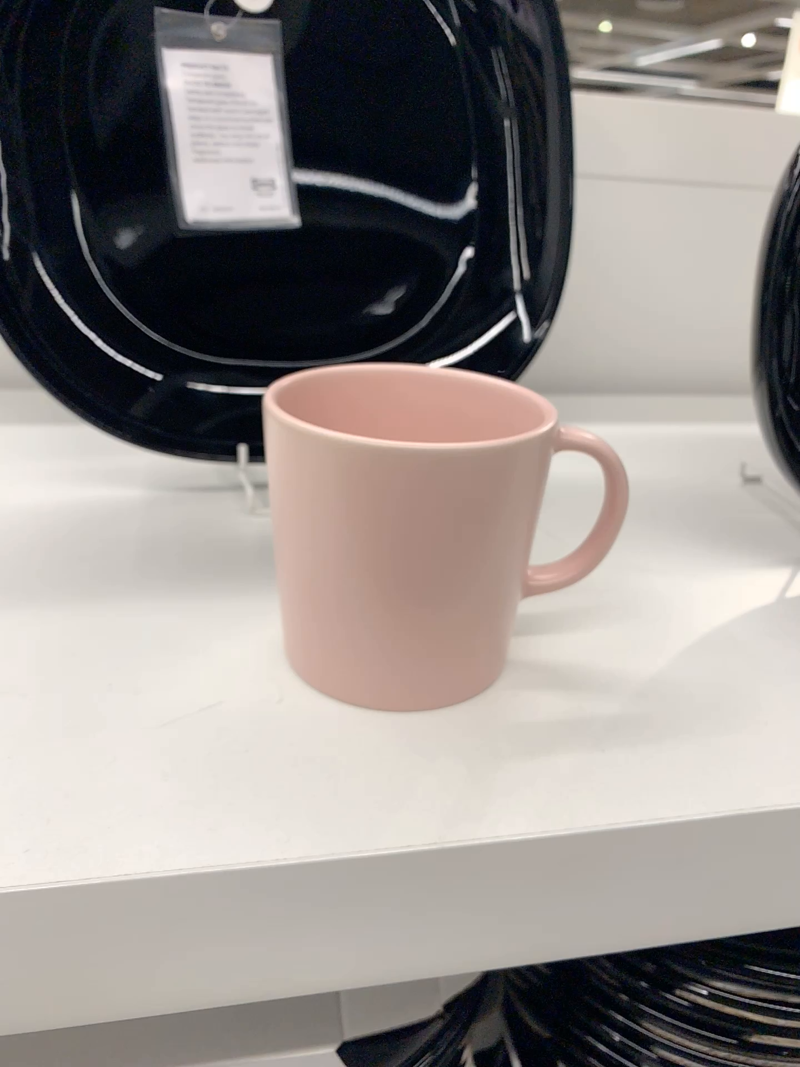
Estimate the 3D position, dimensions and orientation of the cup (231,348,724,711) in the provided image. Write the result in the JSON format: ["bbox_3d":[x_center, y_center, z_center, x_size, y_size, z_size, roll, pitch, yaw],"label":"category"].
[{"bbox_3d":[0.014,-0.006,0.258,0.120,0.080,0.090,1,23,-6],"label":"cup"}]
